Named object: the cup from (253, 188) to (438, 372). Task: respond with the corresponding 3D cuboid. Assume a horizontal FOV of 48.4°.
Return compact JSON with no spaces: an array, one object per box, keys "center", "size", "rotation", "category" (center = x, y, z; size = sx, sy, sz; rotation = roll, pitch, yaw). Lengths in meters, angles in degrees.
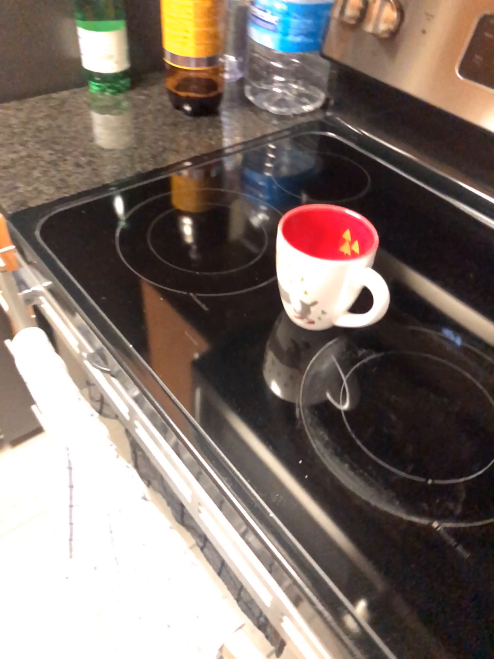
[{"center":[0.092,-0.055,0.559],"size":[0.100,0.100,0.140],"rotation":[-28,53,-29],"category":"cup"}]
